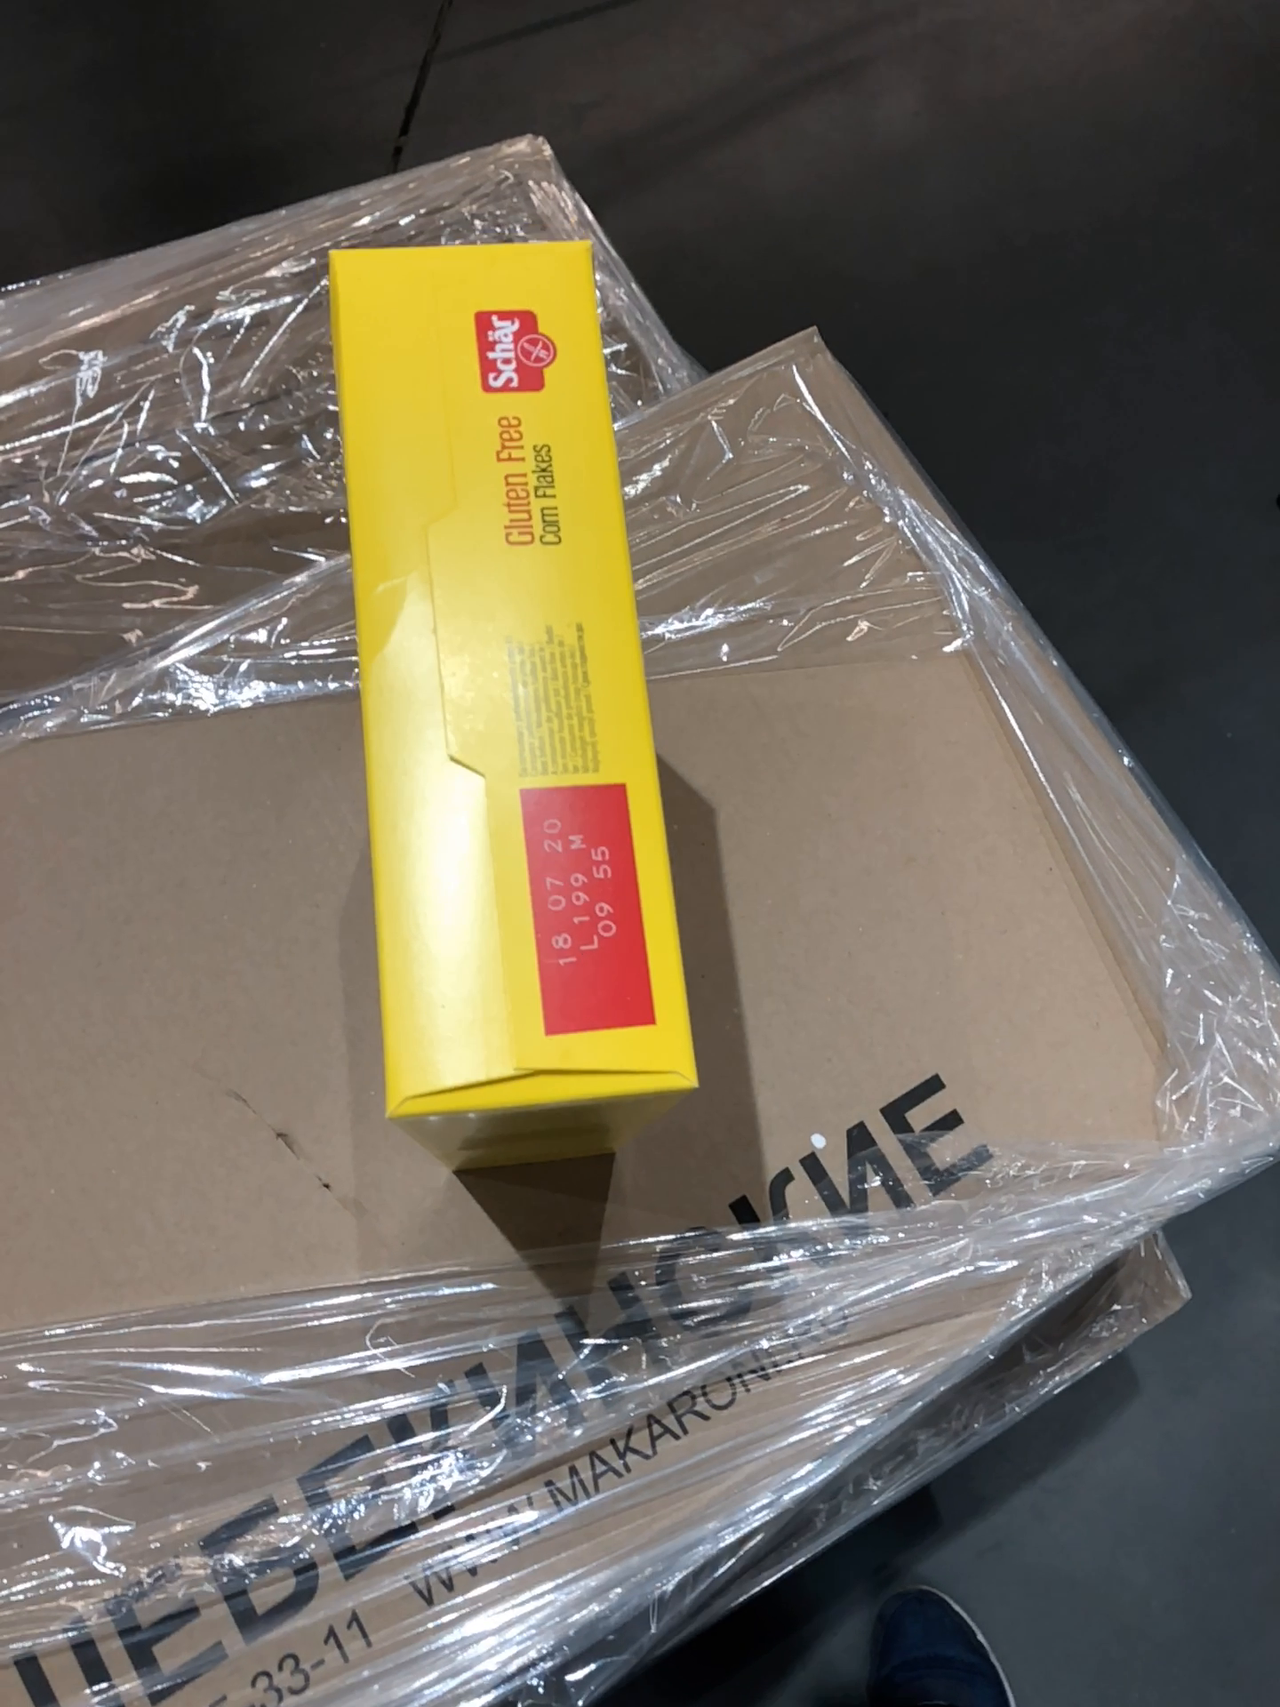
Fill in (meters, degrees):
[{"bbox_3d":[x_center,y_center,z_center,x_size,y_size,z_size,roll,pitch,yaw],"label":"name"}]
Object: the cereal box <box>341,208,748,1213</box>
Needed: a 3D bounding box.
[{"bbox_3d":[-0.032,-0.008,0.397,0.060,0.250,0.200,-5,75,-6],"label":"cereal box"}]
